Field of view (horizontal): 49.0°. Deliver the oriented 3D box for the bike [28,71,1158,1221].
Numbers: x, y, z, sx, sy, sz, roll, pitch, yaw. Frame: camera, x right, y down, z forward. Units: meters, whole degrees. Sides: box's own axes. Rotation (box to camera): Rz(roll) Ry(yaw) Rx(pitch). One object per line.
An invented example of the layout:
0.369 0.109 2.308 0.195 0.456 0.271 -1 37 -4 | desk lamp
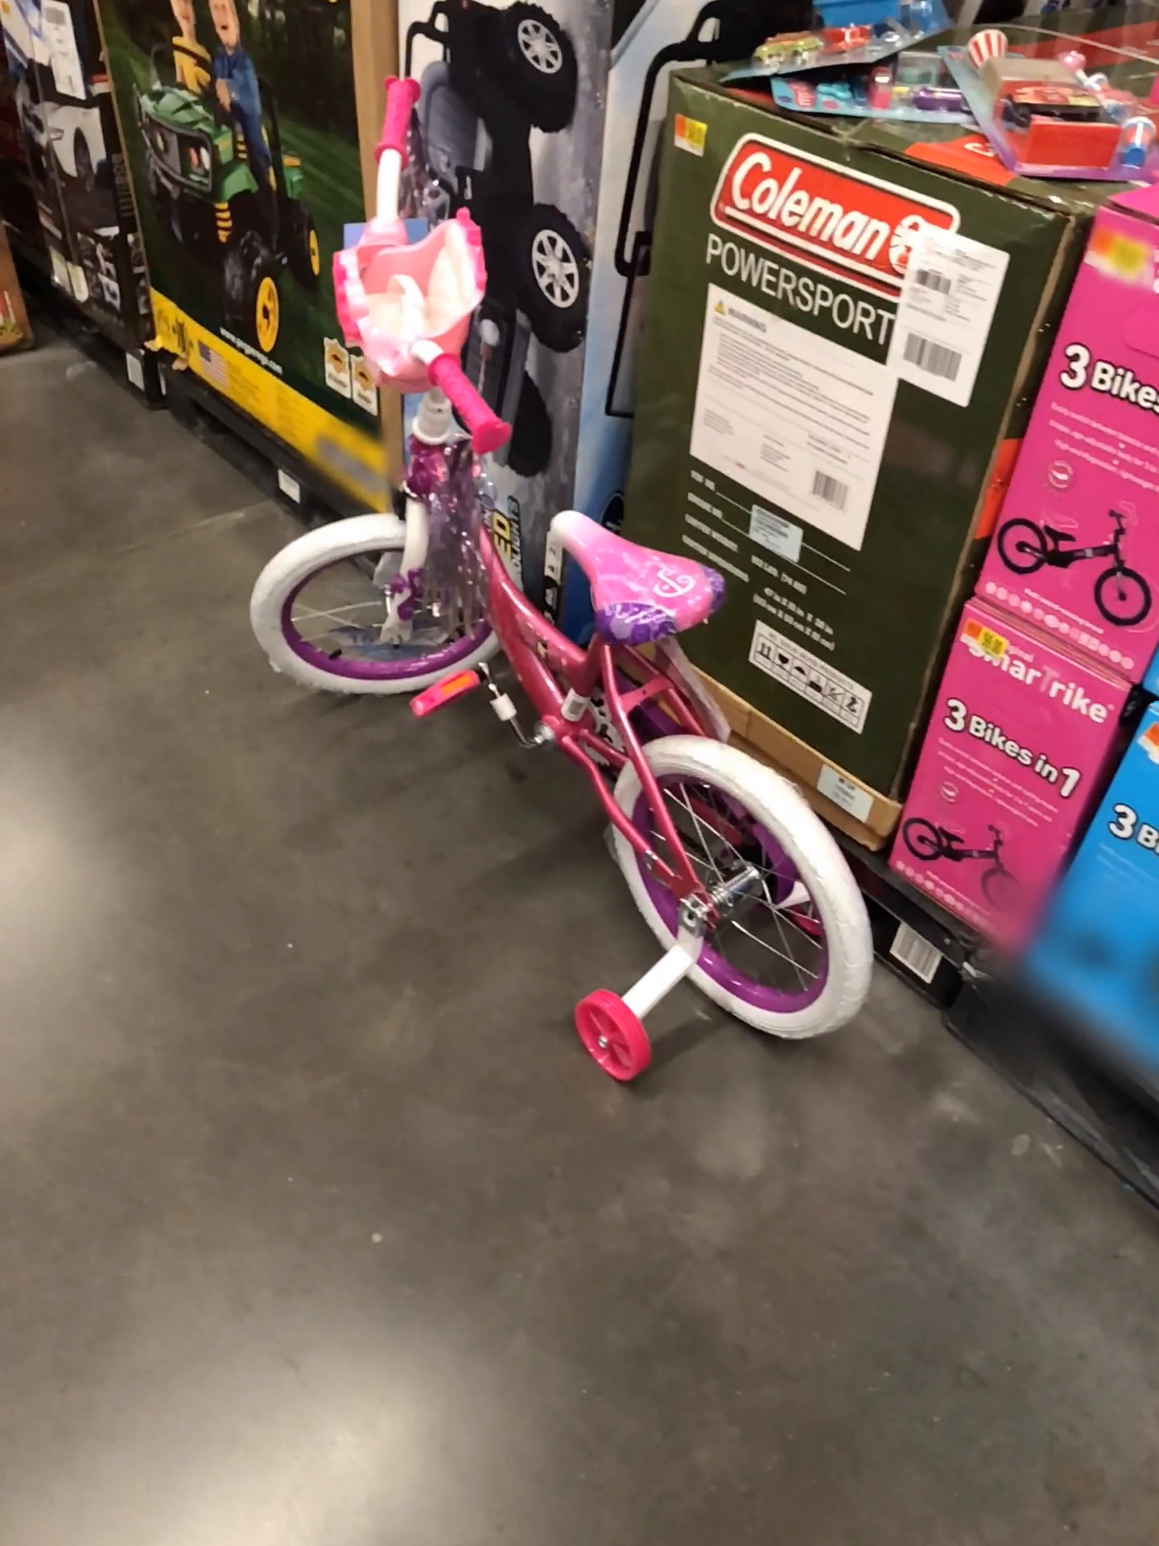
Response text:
-0.034 -0.178 1.414 0.950 0.854 0.478 30 47 26 | bike
